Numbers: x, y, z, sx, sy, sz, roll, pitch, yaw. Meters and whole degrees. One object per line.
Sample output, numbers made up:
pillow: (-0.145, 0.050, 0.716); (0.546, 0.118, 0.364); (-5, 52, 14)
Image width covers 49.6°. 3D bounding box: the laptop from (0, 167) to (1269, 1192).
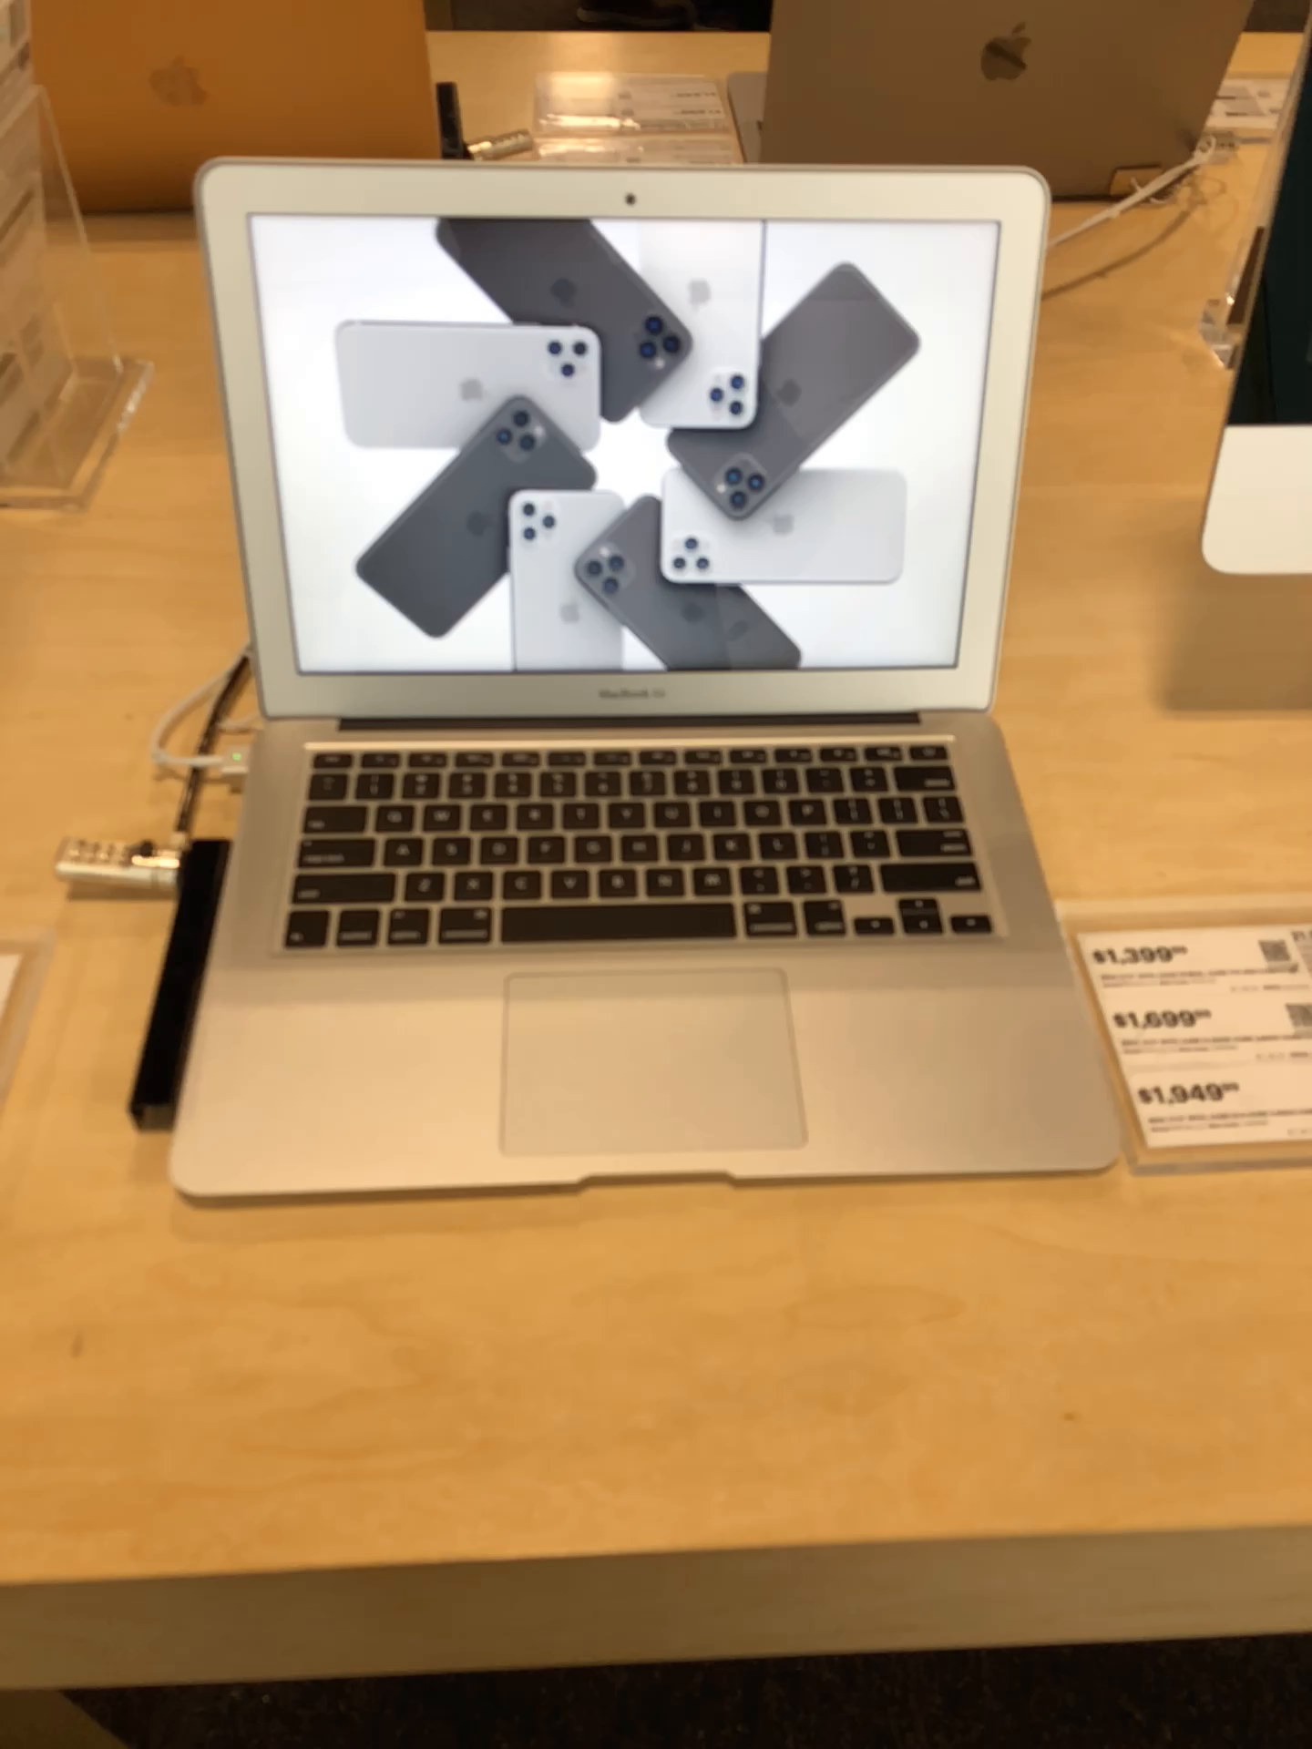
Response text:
laptop: (-0.023, -0.079, 0.505); (0.324, 0.202, 0.311); (-1, 48, 0)
